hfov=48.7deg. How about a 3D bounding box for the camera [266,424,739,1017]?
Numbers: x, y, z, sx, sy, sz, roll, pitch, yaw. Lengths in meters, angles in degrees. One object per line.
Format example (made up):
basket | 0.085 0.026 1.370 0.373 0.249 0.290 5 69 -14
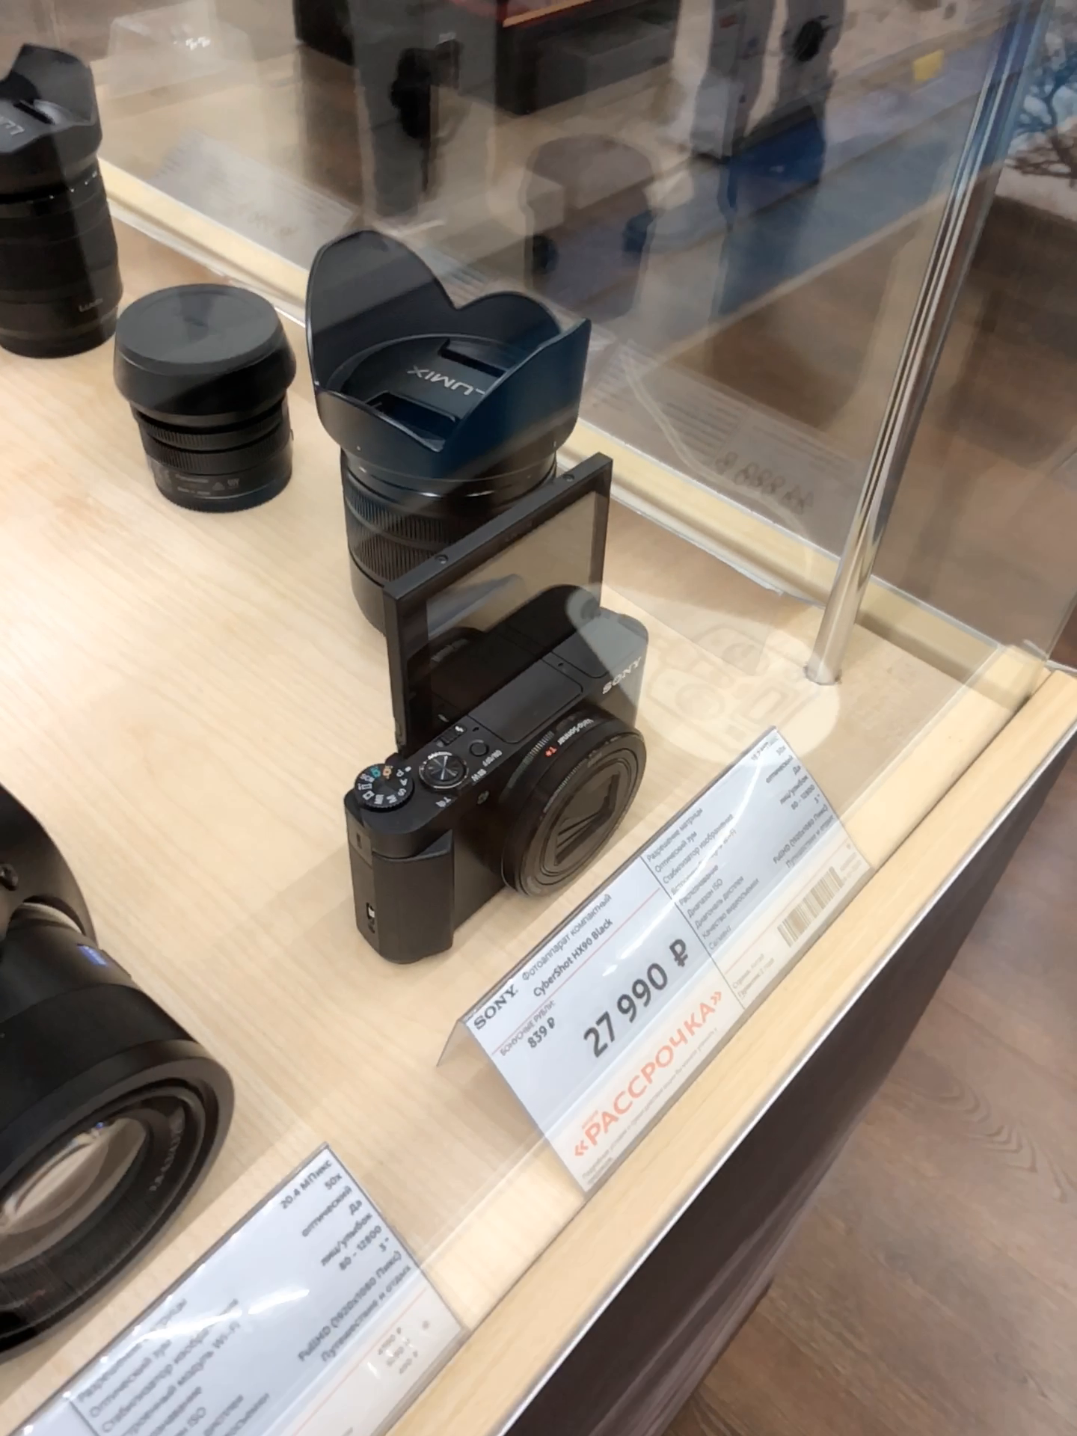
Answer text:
camera | -0.007 0.001 0.302 0.050 0.107 0.100 34 53 26

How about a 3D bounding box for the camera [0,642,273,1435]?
camera | -0.156 0.077 0.251 0.136 0.078 0.133 34 53 26
